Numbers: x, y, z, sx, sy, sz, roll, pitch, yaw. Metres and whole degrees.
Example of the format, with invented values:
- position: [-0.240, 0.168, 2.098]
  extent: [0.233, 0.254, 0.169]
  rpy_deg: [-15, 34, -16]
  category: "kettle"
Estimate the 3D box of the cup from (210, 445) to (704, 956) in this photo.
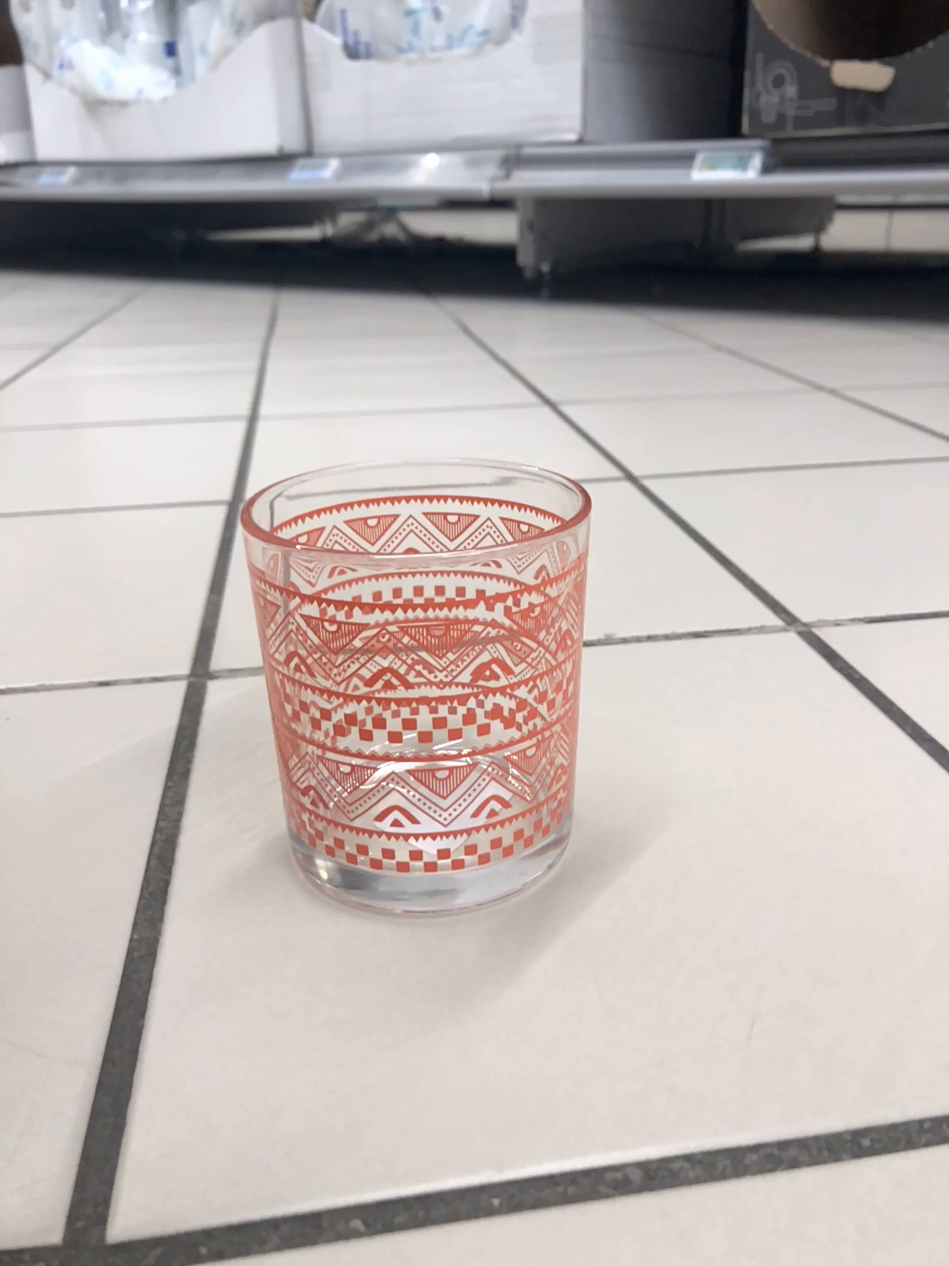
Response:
- position: [-0.005, 0.009, 0.229]
  extent: [0.083, 0.078, 0.079]
  rpy_deg: [-1, 23, 0]
  category: "cup"
